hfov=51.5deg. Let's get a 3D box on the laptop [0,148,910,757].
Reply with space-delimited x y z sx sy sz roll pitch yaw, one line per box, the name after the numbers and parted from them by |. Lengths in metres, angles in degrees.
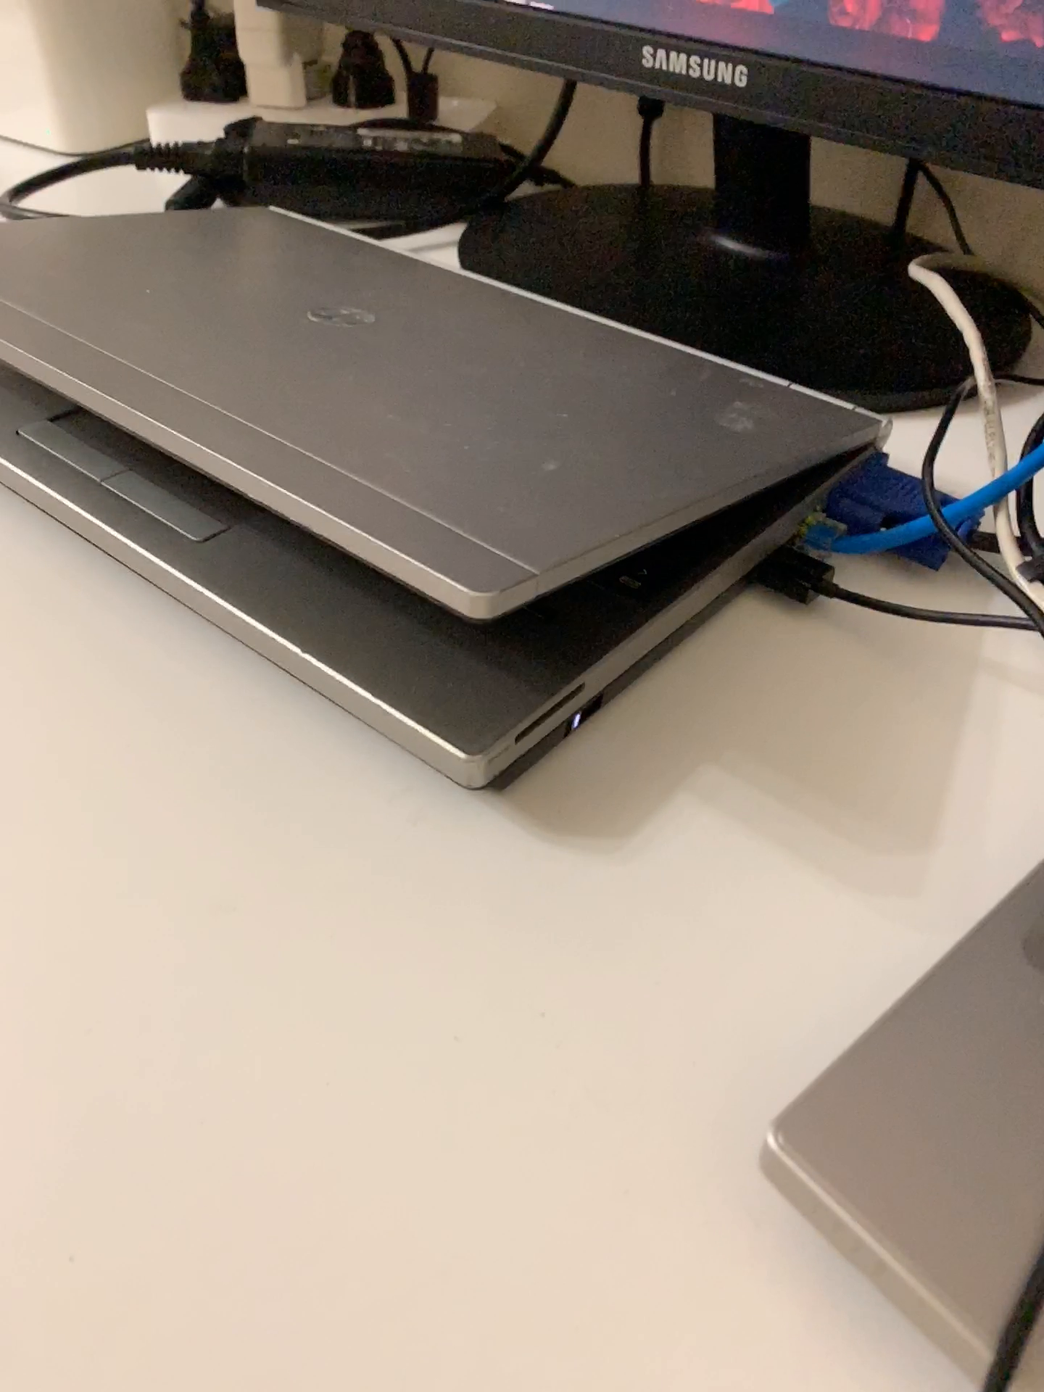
-0.058 -0.110 0.345 0.293 0.029 0.184 31 51 30 | laptop
